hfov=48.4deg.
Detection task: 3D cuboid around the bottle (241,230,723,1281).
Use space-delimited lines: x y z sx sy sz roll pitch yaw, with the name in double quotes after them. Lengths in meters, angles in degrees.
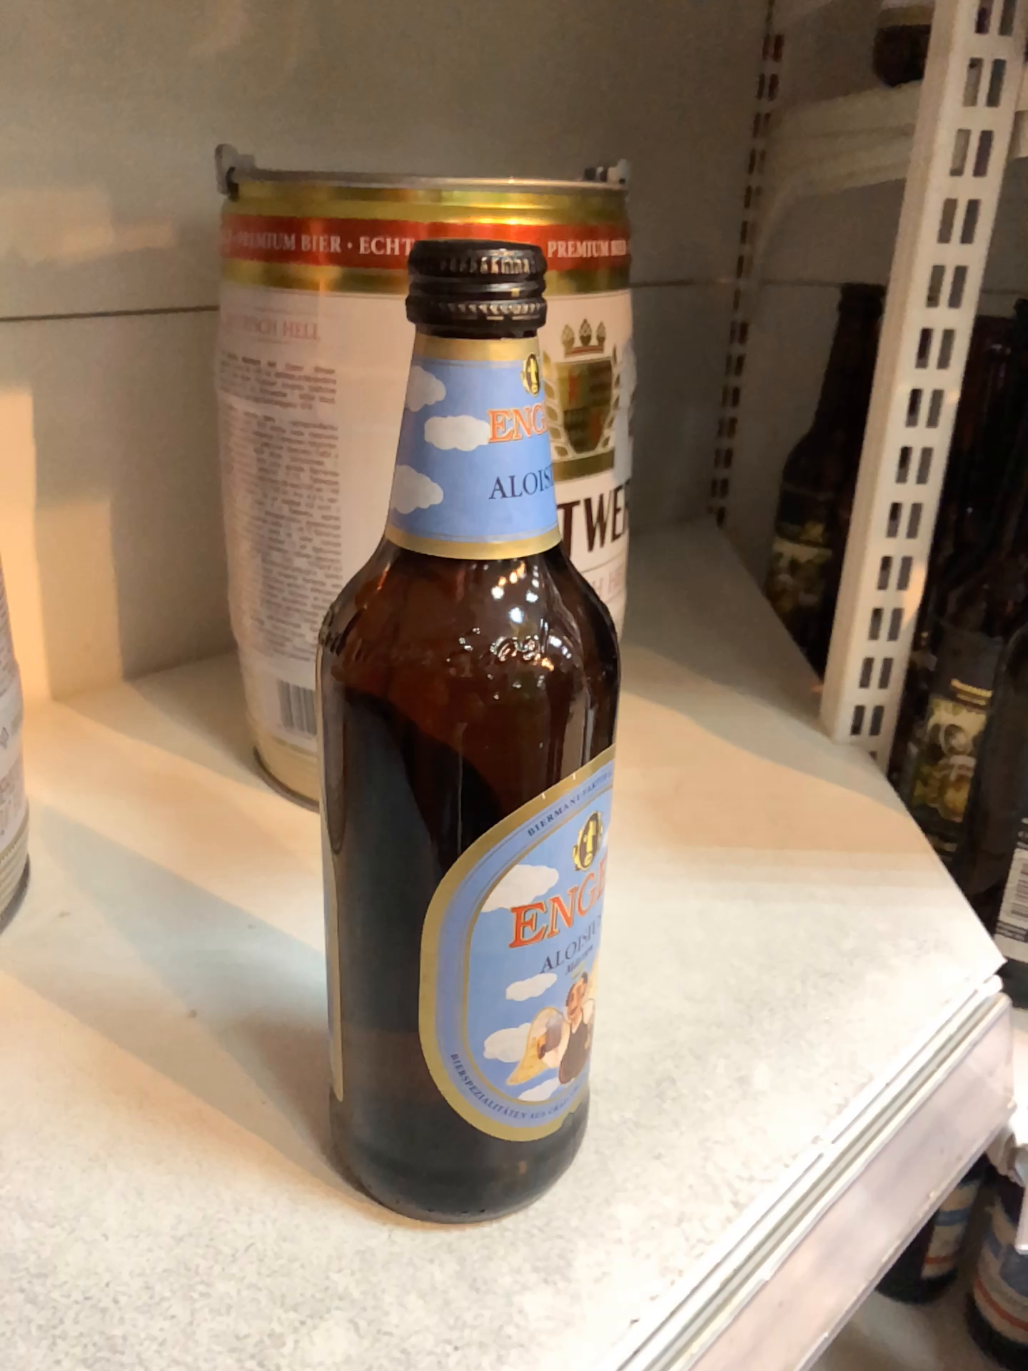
-0.009 0.016 0.259 0.060 0.219 0.070 20 29 35 "bottle"
